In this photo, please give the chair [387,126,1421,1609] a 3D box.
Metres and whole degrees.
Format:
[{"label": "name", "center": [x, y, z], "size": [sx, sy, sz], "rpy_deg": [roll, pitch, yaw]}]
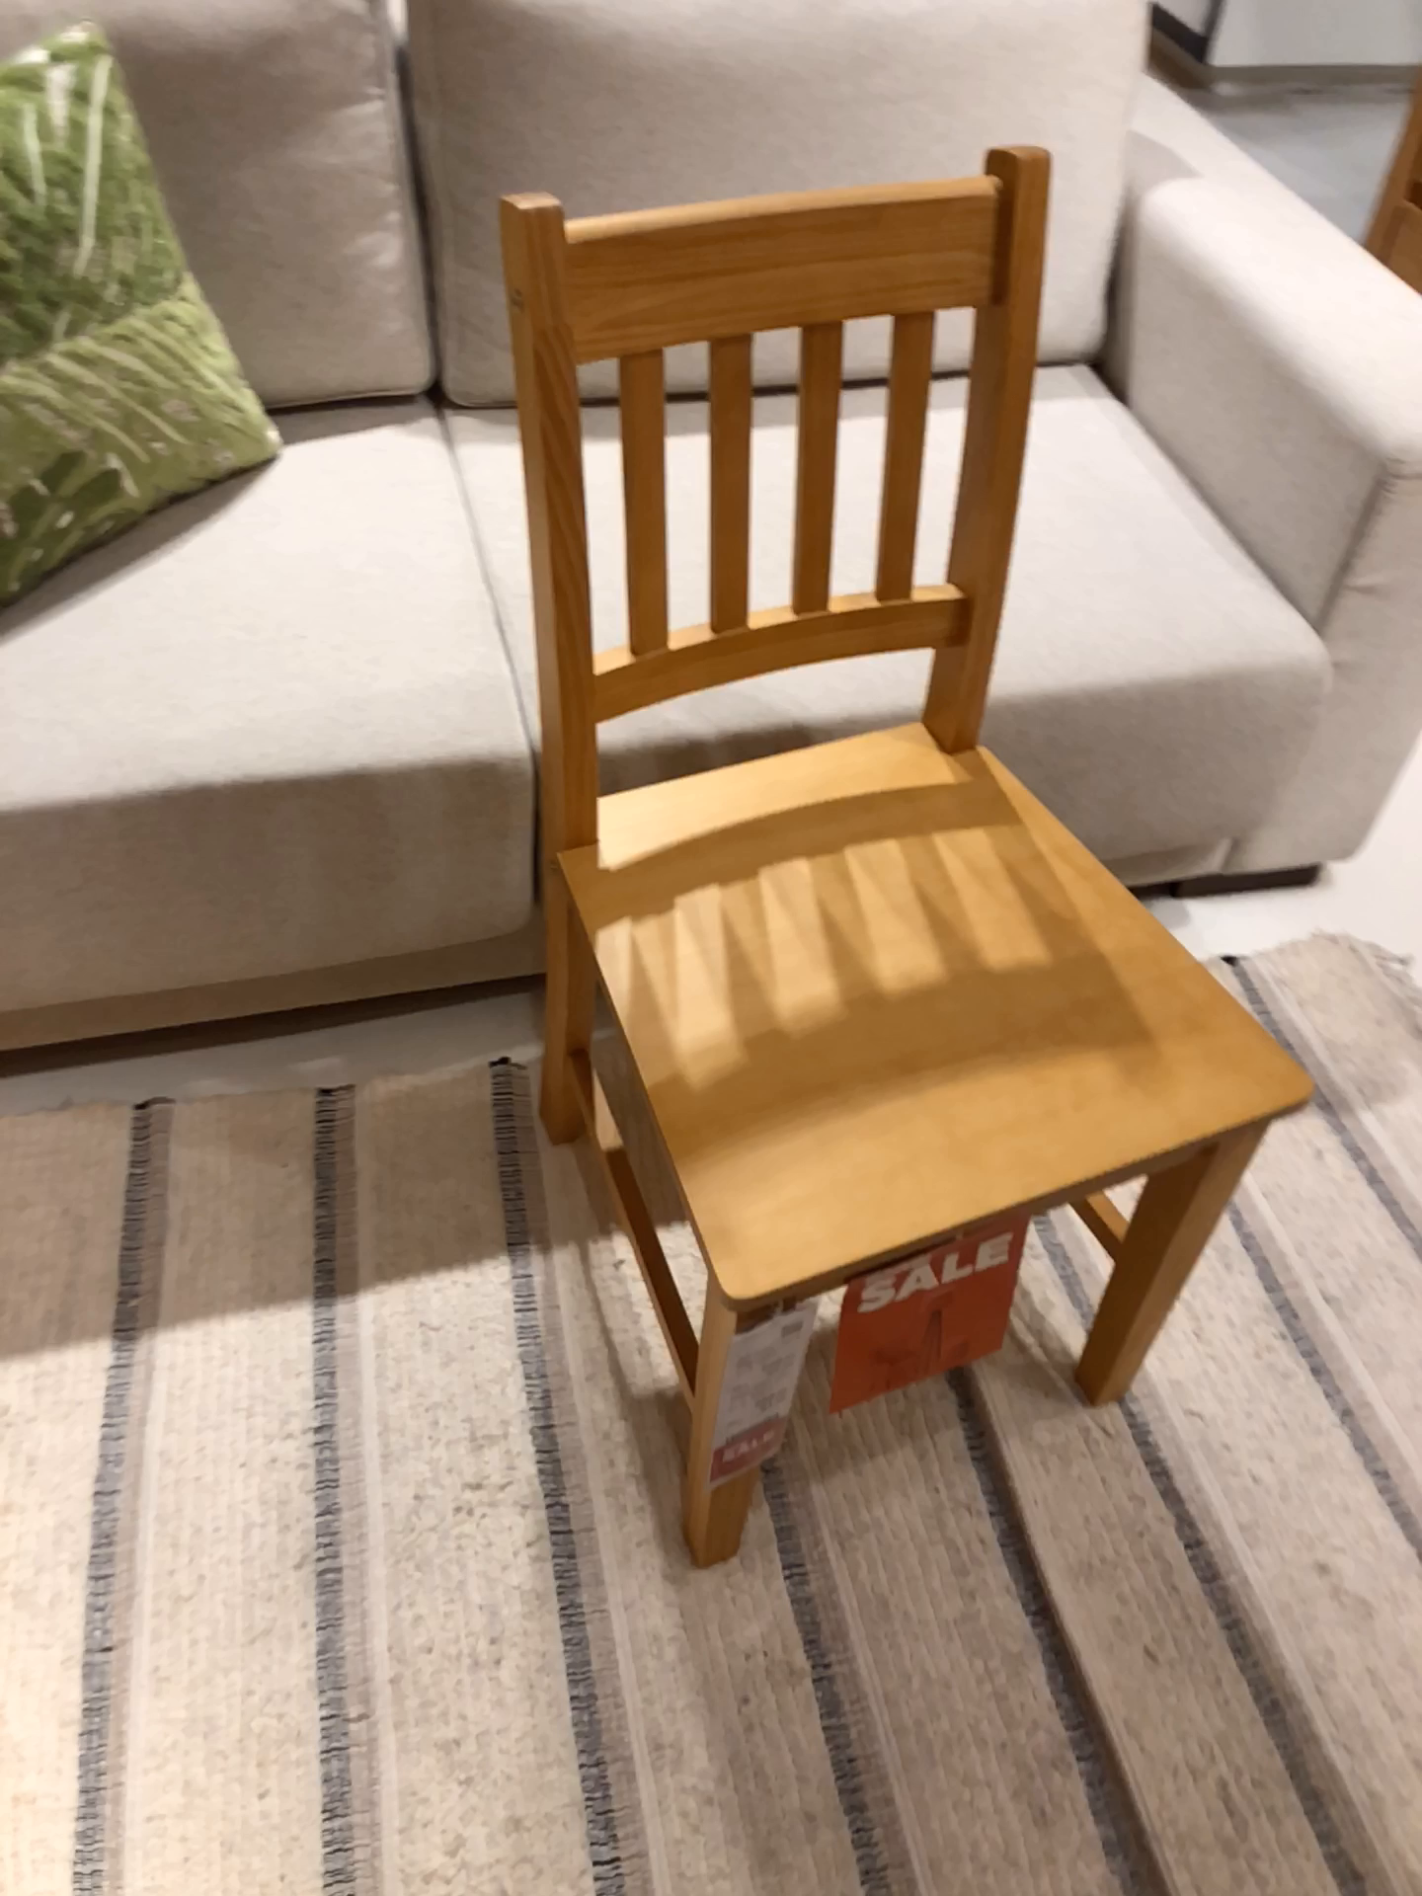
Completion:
[{"label": "chair", "center": [0.107, -0.030, 1.093], "size": [0.461, 0.814, 0.523], "rpy_deg": [-16, 49, -19]}]
